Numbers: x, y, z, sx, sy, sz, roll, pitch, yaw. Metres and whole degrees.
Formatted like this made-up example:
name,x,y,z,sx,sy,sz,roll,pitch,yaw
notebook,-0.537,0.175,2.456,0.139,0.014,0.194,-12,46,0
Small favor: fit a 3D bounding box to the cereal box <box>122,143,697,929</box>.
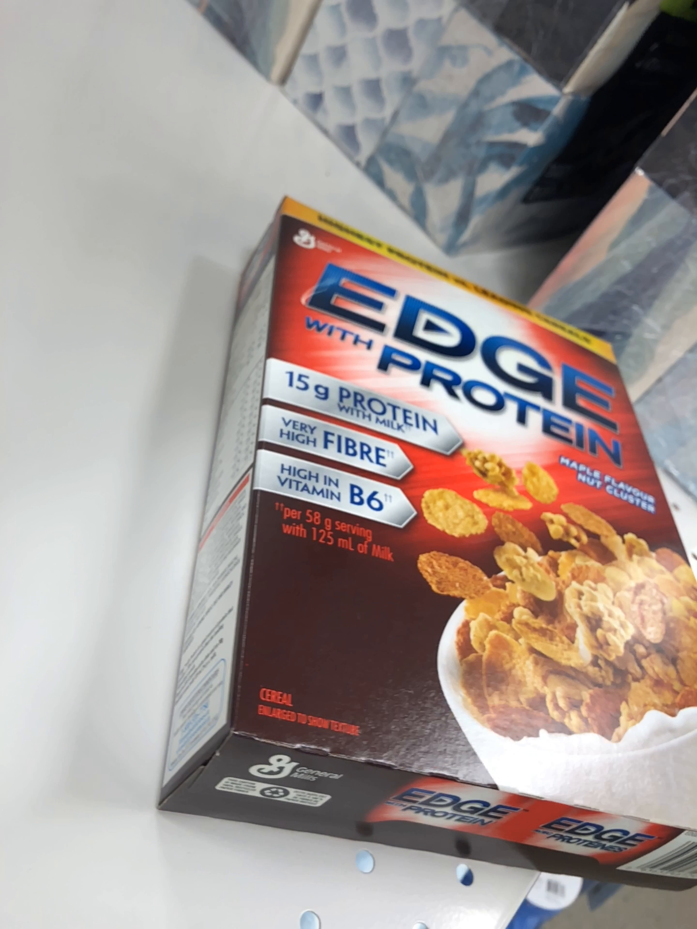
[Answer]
name,x,y,z,sx,sy,sz,roll,pitch,yaw
cereal box,0.054,0.009,0.300,0.220,0.050,0.271,19,43,-20
